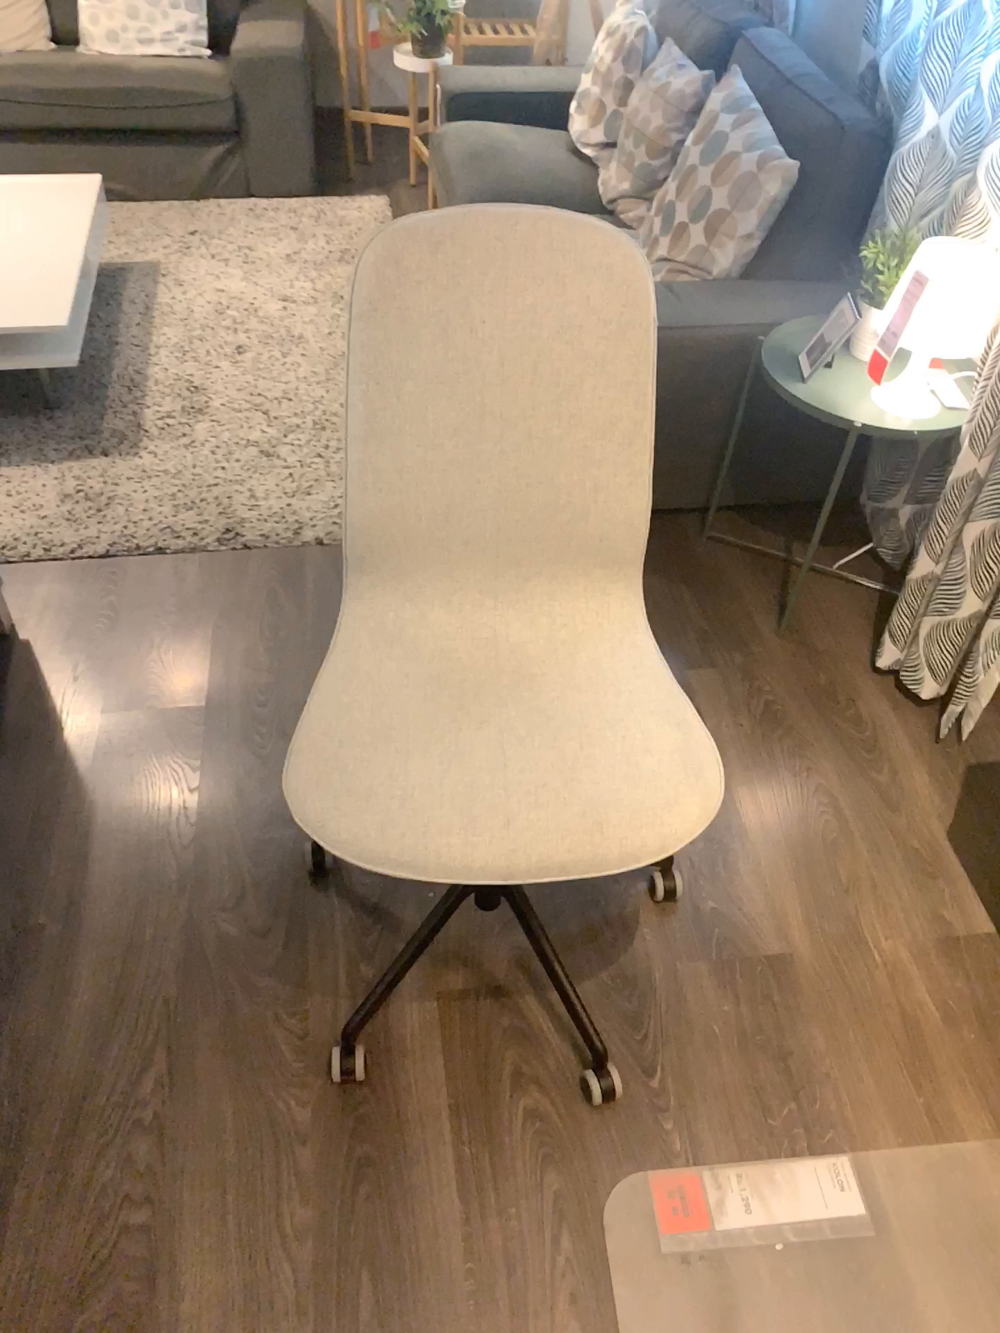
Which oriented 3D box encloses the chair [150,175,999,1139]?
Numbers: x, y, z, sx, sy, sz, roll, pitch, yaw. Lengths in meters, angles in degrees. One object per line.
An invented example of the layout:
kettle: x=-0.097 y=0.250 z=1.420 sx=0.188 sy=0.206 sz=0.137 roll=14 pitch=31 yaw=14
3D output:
chair: x=0.003 y=0.025 z=1.328 sx=0.630 sy=1.006 sz=0.712 roll=-2 pitch=45 yaw=-7
